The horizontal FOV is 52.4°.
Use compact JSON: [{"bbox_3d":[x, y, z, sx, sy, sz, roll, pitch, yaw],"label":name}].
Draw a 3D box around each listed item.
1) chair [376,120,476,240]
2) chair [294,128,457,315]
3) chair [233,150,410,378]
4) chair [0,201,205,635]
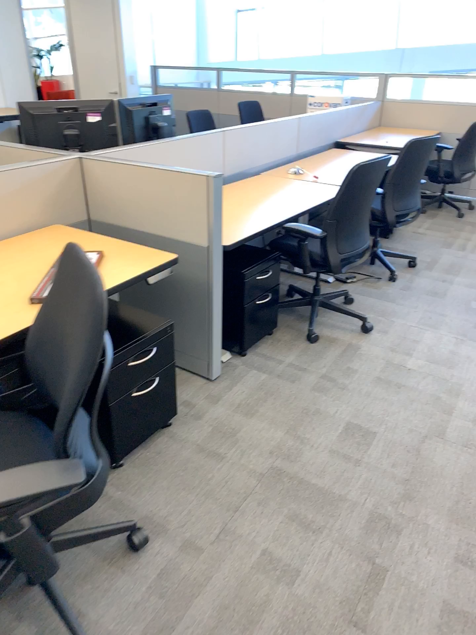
[{"bbox_3d":[2.333,-1.709,5.938,0.750,1.233,0.764,-16,32,-30],"label":"chair"},{"bbox_3d":[1.014,-0.785,3.781,0.750,1.183,0.764,-16,32,-30],"label":"chair"},{"bbox_3d":[0.503,-0.401,3.193,0.763,1.183,0.751,23,35,36],"label":"chair"},{"bbox_3d":[-0.574,0.339,1.361,0.680,1.084,0.754,-14,31,-26],"label":"chair"}]
